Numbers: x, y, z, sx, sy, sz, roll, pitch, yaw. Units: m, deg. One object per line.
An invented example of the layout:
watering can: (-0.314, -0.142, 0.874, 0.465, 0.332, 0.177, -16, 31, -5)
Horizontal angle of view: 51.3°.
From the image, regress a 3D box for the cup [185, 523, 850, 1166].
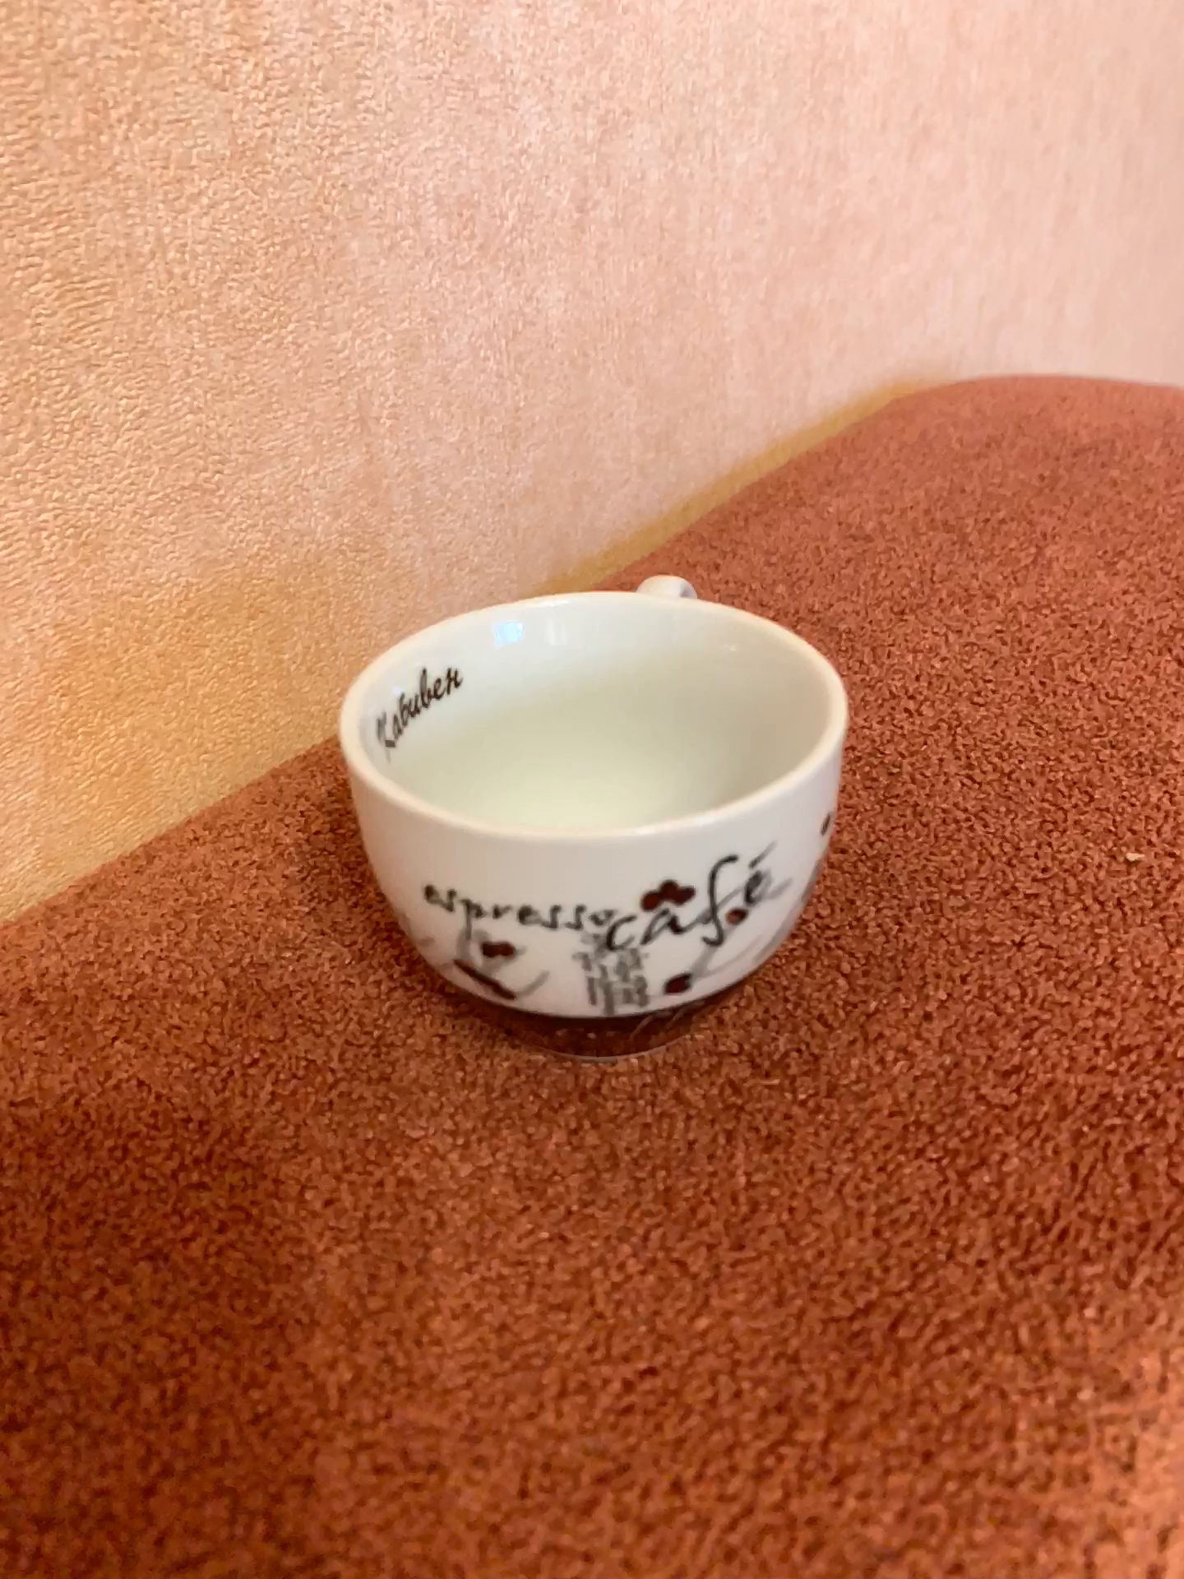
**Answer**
cup: (-0.002, 0.000, 0.171, 0.065, 0.040, 0.083, 6, 36, 13)
